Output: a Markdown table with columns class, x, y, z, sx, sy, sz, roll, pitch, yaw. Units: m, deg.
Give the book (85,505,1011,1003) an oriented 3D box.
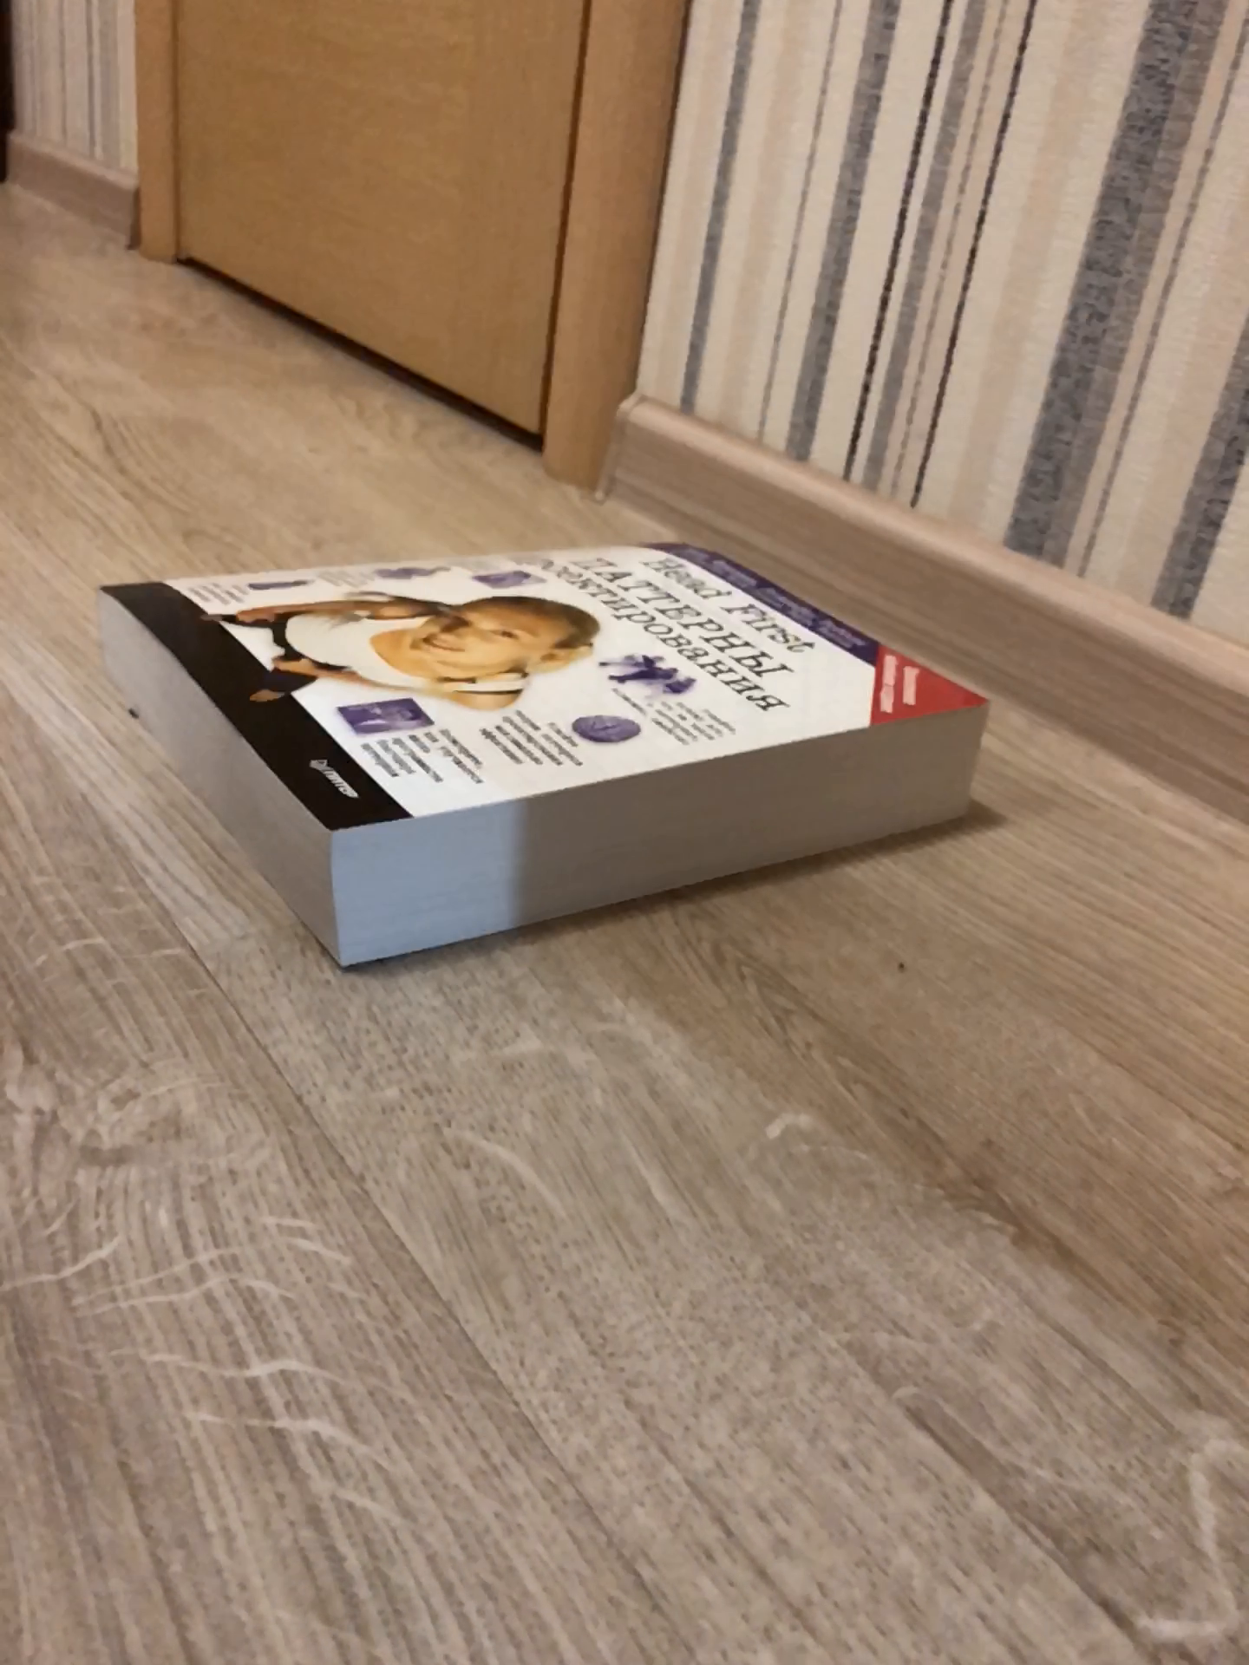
| class | x | y | z | sx | sy | sz | roll | pitch | yaw |
| --- | --- | --- | --- | --- | --- | --- | --- | --- | --- |
| book | -0.031 | -0.050 | 0.475 | 0.241 | 0.049 | 0.207 | -13 | 36 | -33 |
